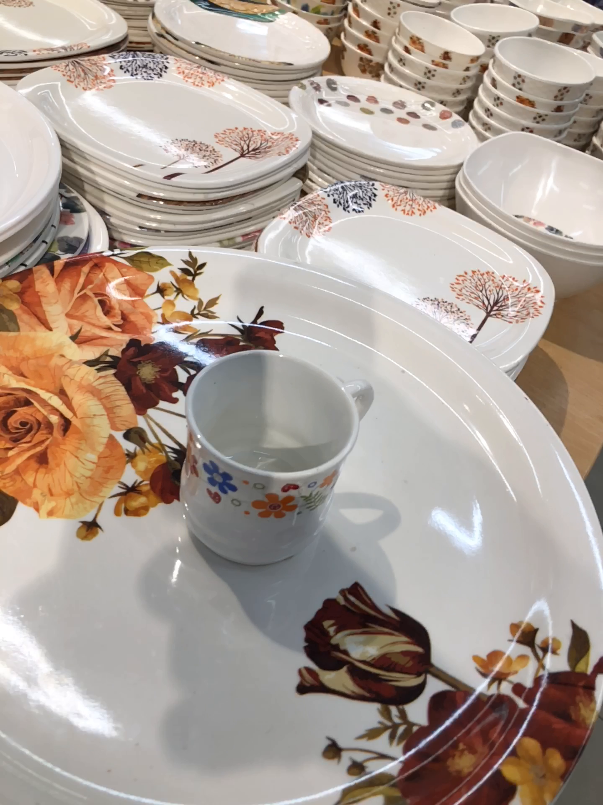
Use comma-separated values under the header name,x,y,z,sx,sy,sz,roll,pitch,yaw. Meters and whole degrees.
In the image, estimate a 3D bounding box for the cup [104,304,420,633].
name,x,y,z,sx,sy,sz,roll,pitch,yaw
cup,-0.019,0.024,0.283,0.101,0.079,0.070,-28,60,-37
